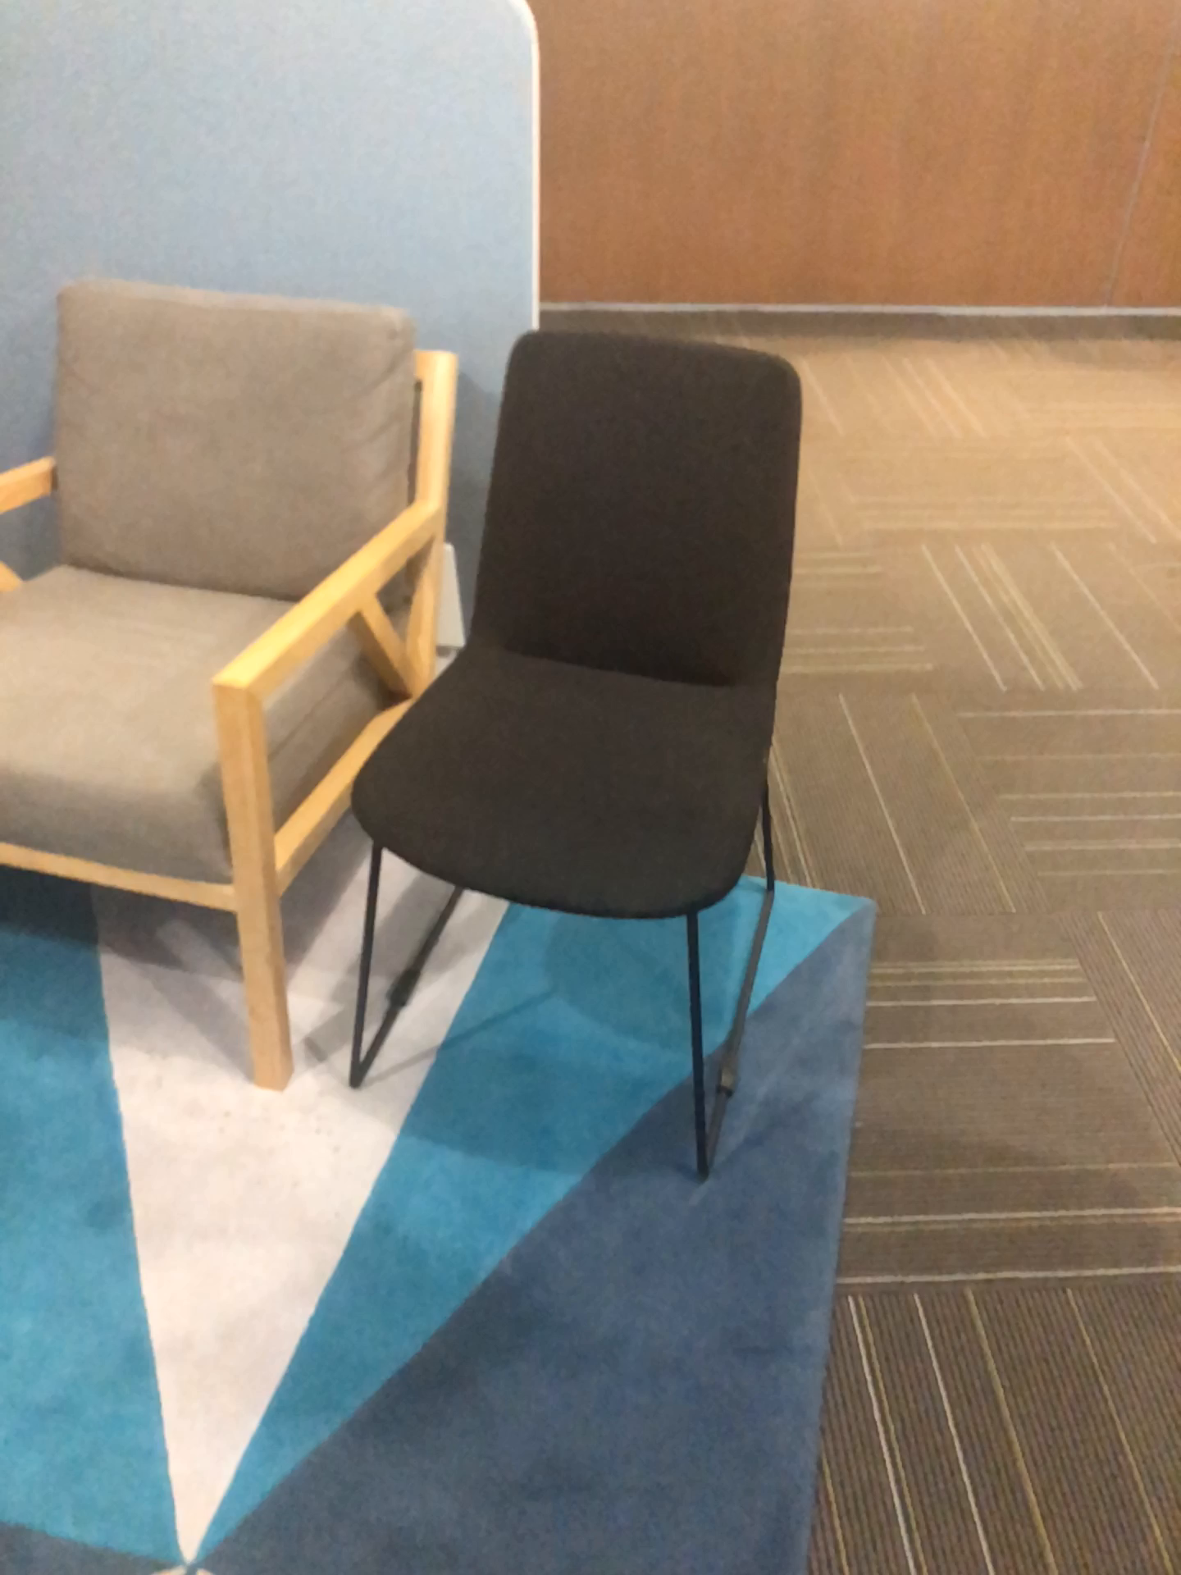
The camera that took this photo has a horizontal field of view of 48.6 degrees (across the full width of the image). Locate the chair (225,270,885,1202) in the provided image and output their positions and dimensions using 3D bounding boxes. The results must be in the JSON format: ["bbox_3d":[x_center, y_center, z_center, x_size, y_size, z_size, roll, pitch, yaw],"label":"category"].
[{"bbox_3d":[0.007,-0.089,1.602,0.500,0.822,0.686,11,38,12],"label":"chair"}]
